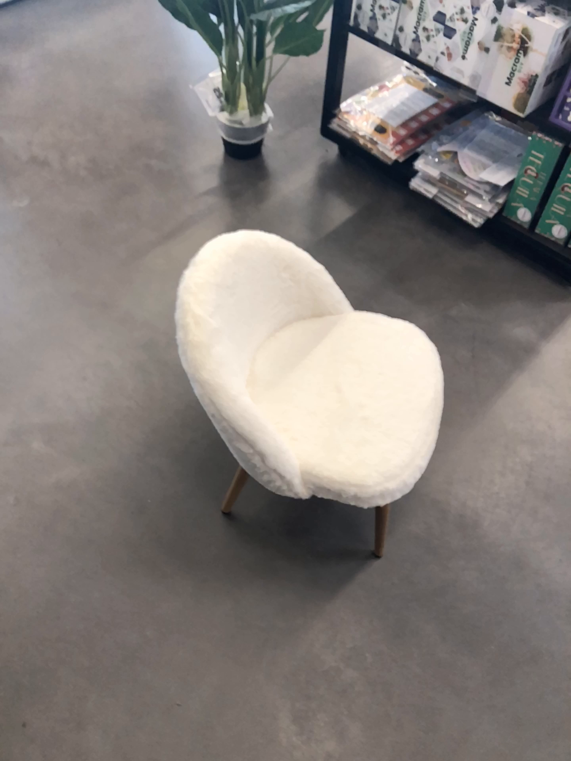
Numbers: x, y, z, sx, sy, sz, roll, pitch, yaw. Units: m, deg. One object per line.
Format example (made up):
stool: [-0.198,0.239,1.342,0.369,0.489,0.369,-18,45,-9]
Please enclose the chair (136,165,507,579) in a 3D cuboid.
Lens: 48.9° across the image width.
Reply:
chair: [0.064,-0.002,1.180,0.470,0.537,0.412,18,52,10]
